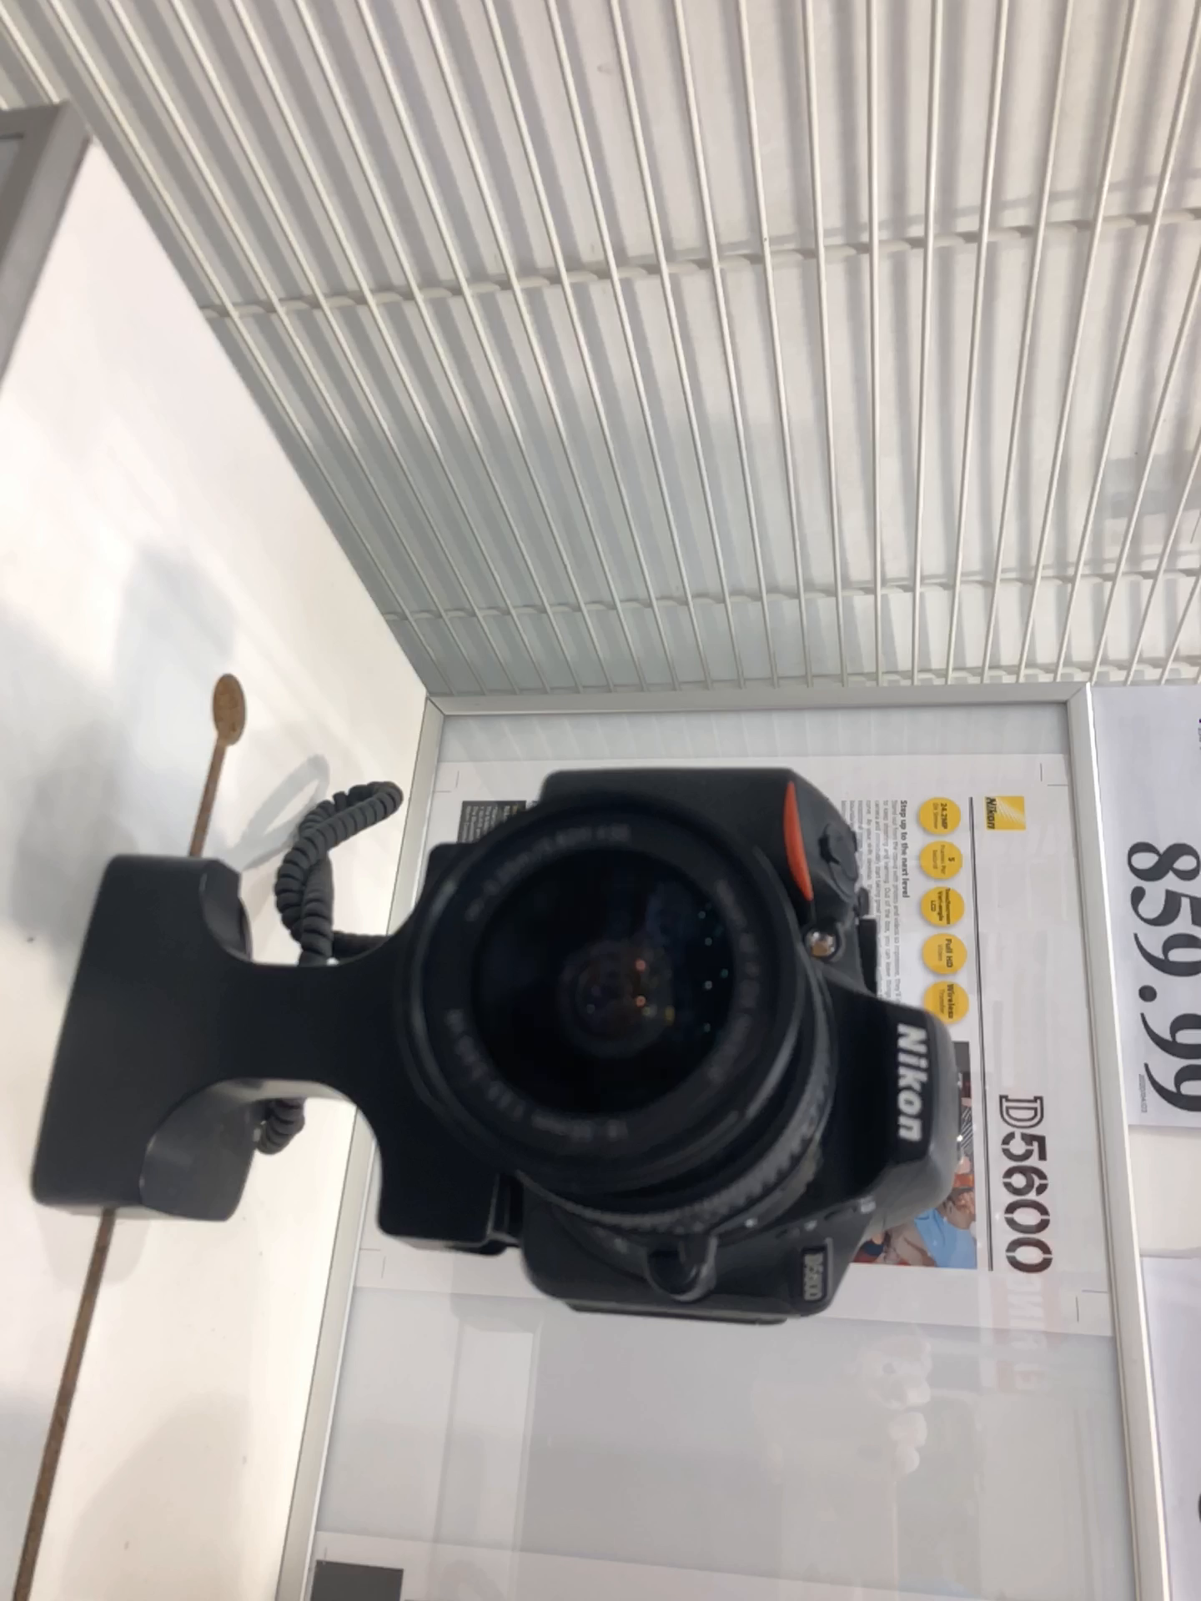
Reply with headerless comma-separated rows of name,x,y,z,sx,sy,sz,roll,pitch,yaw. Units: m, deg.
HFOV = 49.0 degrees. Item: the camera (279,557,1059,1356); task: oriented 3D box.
camera,0.024,0.044,0.278,0.160,0.110,0.120,62,29,-68
